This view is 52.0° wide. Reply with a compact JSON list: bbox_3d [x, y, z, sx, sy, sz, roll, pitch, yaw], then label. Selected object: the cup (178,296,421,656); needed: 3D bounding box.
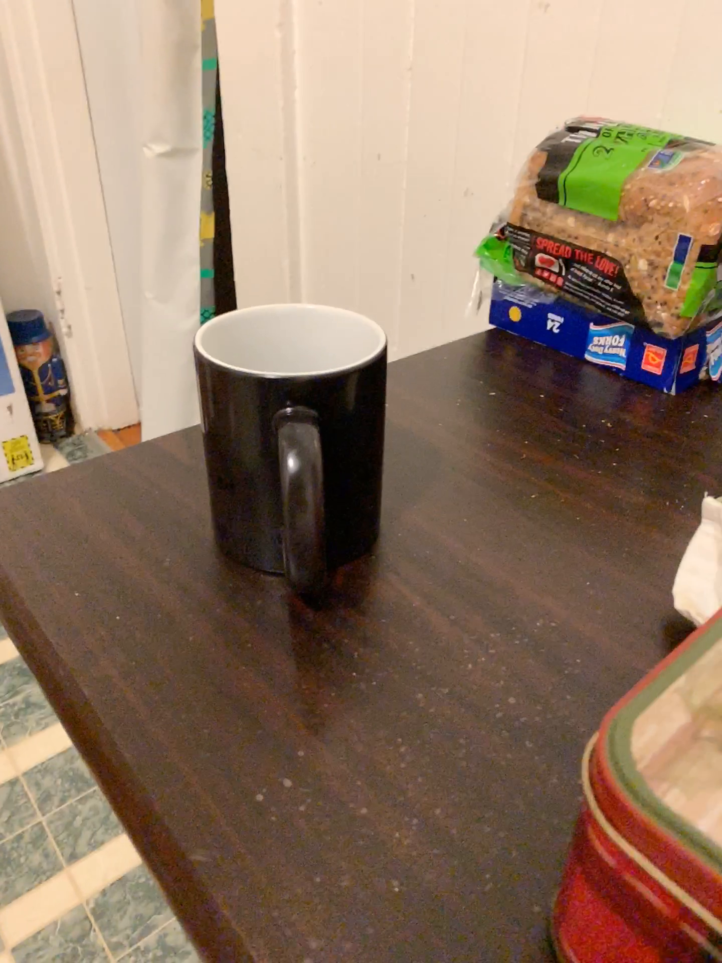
[{"bbox_3d":[-0.029,-0.010,0.325,0.080,0.099,0.131,-3,33,-6],"label":"cup"}]
